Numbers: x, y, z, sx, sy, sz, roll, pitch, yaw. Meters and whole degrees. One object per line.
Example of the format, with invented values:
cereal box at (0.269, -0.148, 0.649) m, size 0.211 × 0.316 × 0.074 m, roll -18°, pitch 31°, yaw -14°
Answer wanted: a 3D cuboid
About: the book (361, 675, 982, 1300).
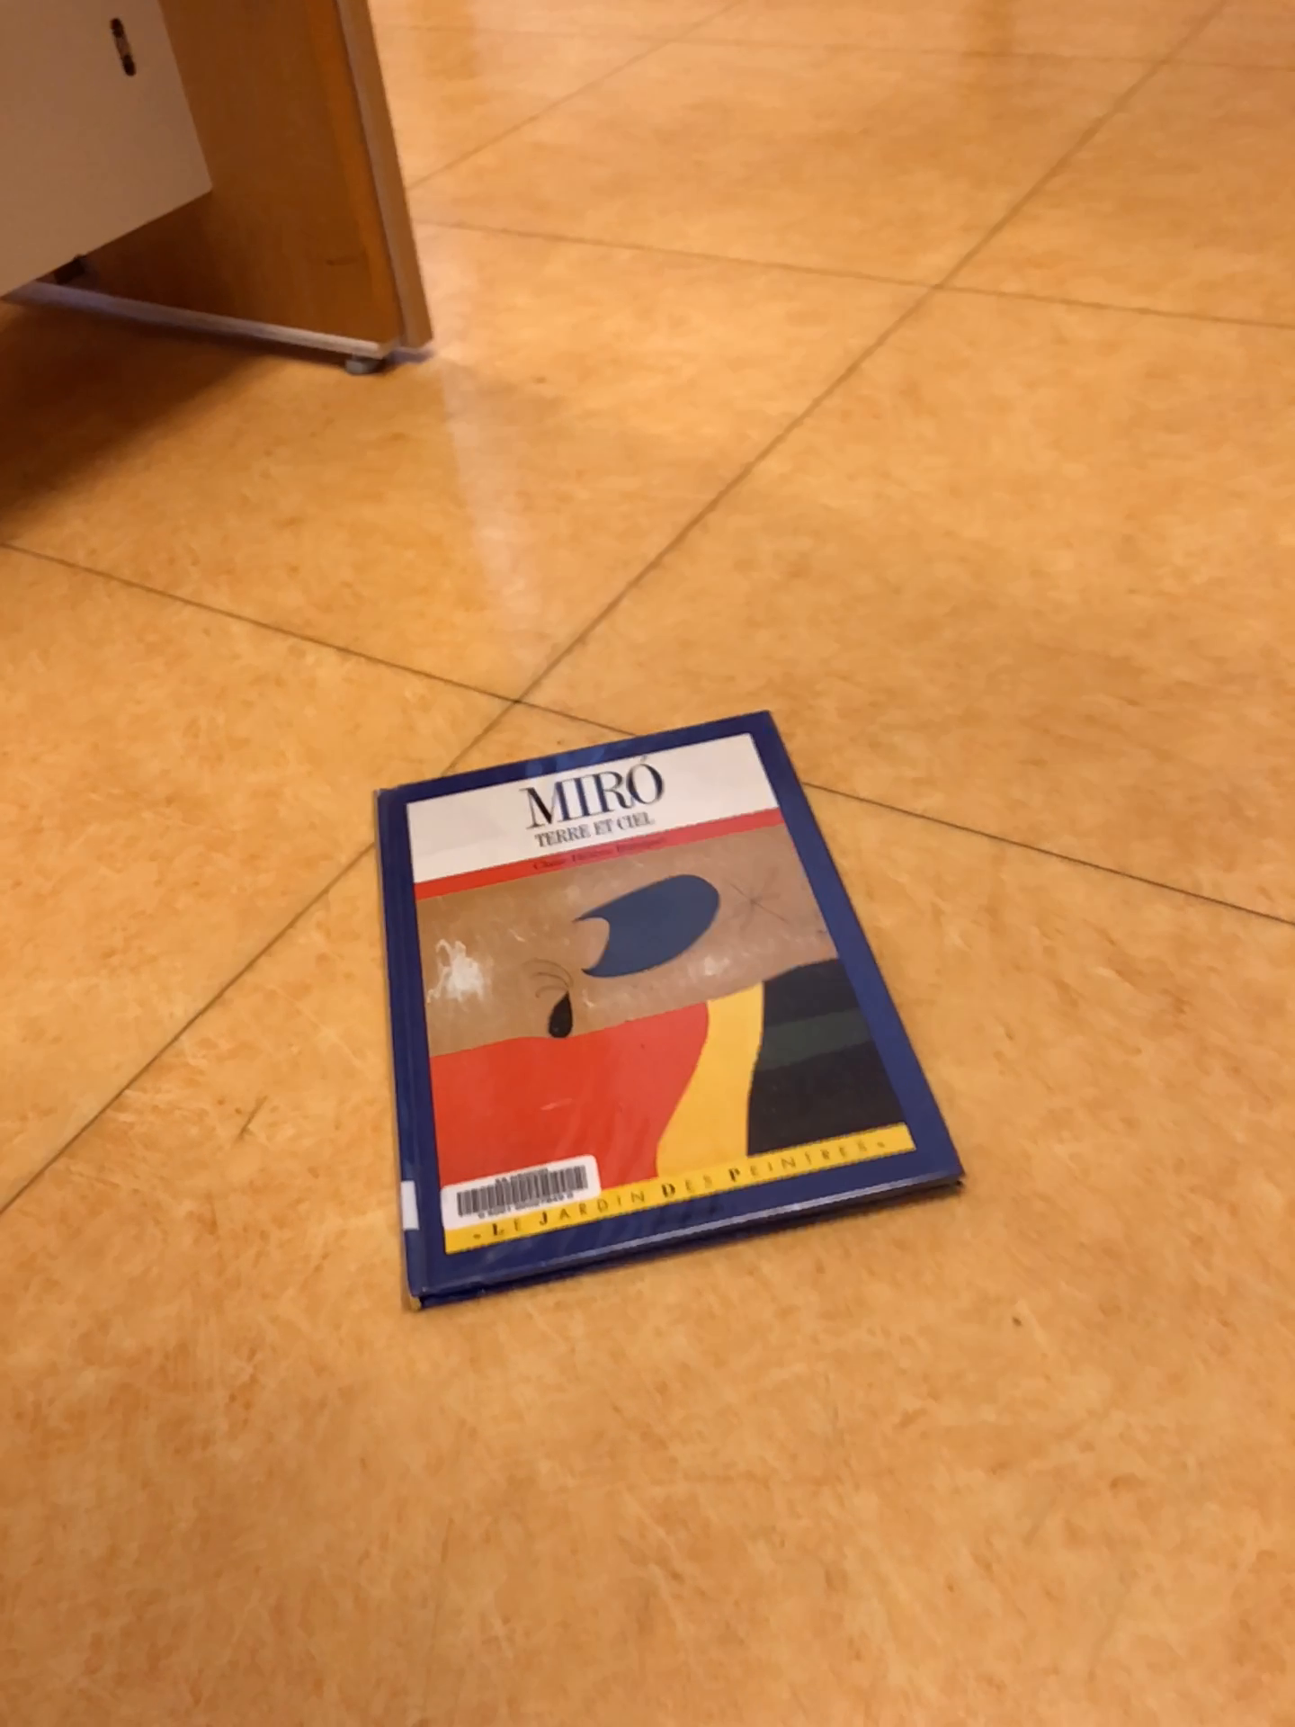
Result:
book at (-0.009, 0.024, 0.509) m, size 0.177 × 0.020 × 0.246 m, roll -11°, pitch 42°, yaw -4°
